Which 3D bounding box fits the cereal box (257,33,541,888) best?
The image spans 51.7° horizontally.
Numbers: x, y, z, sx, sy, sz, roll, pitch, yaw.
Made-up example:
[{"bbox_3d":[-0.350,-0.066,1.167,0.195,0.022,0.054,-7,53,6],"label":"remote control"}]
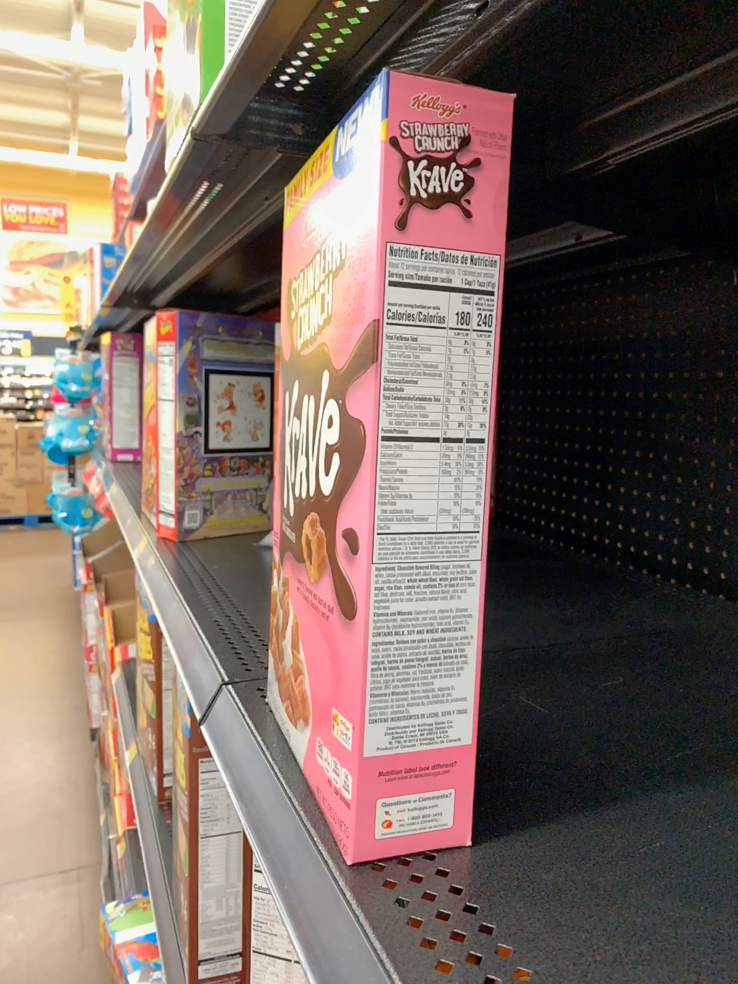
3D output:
[{"bbox_3d":[-0.003,-0.015,0.396,0.060,0.329,0.200,1,7,-19],"label":"cereal box"}]
